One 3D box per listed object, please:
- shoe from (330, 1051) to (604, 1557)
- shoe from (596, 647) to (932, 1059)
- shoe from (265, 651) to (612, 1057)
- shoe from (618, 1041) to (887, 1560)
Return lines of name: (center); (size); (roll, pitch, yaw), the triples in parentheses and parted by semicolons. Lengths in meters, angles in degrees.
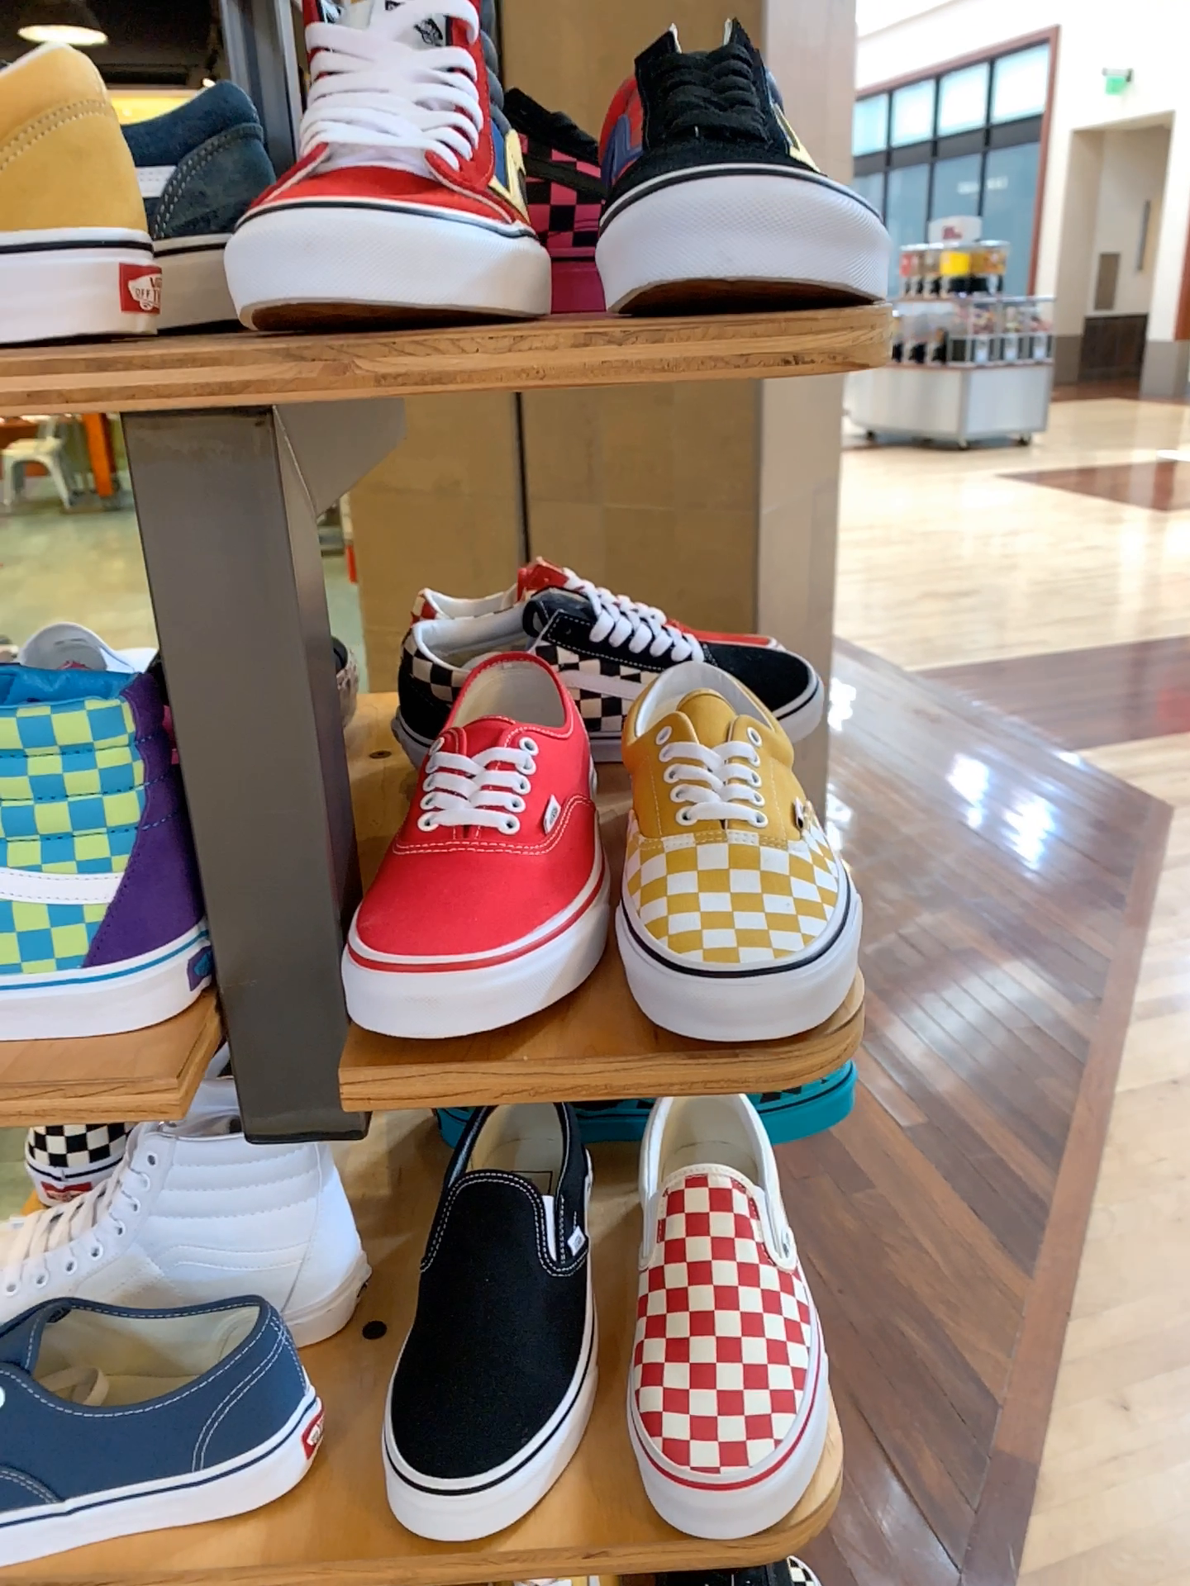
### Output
shoe: (-0.050, 0.237, 0.622); (0.105, 0.067, 0.269); (-1, 22, 2)
shoe: (0.054, 0.007, 0.523); (0.103, 0.067, 0.269); (-2, 22, 0)
shoe: (-0.049, 0.008, 0.530); (0.109, 0.067, 0.269); (-1, 22, 2)
shoe: (0.063, 0.228, 0.605); (0.103, 0.067, 0.269); (-1, 22, 2)
